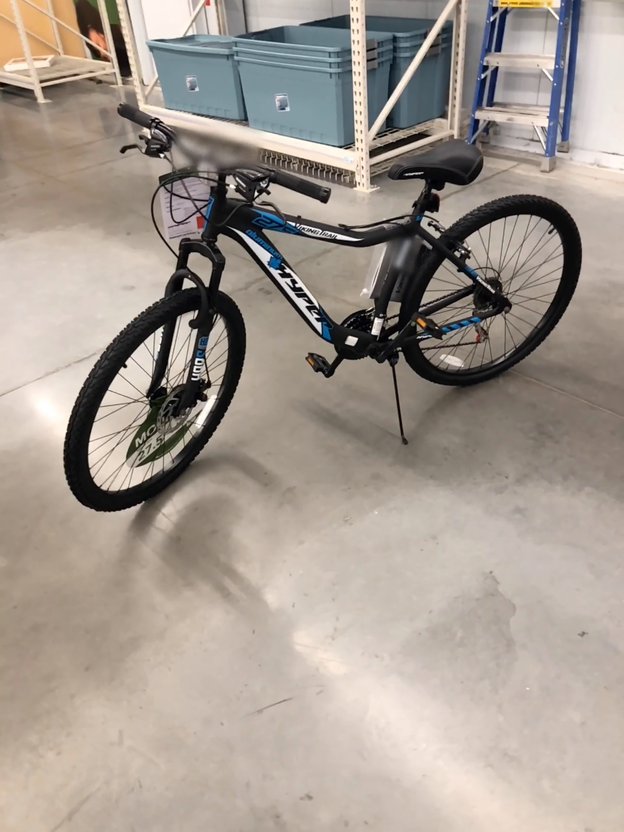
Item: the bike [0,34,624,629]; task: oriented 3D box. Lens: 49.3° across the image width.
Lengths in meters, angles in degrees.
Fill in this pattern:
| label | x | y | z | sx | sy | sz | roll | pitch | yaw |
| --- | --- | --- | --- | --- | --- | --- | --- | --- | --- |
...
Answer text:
| label | x | y | z | sx | sy | sz | roll | pitch | yaw |
| --- | --- | --- | --- | --- | --- | --- | --- | --- | --- |
| bike | 0.121 | -0.325 | 1.862 | 1.634 | 0.987 | 0.575 | -23 | 40 | -21 |
